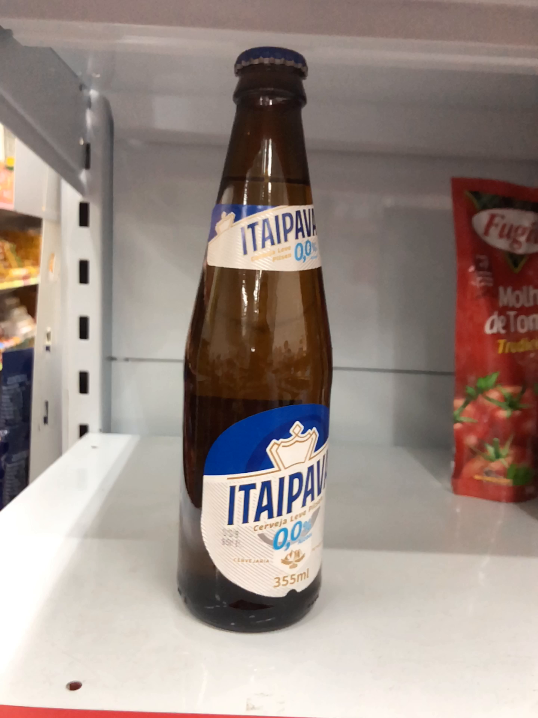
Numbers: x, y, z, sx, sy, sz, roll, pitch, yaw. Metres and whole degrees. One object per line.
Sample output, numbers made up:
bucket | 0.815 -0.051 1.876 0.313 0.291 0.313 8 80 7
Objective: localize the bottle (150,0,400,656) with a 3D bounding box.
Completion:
bottle | -0.004 -0.014 0.219 0.060 0.209 0.060 2 9 0
